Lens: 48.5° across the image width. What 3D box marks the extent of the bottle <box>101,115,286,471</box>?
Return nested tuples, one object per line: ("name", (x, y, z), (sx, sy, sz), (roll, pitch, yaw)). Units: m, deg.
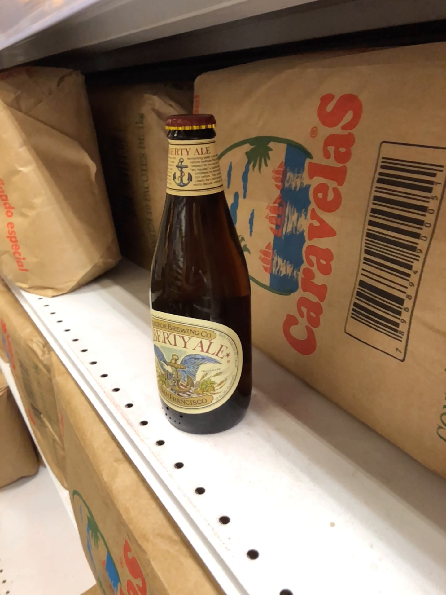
("bottle", (-0.012, -0.007, 0.295), (0.070, 0.189, 0.070), (-1, 21, 0))
